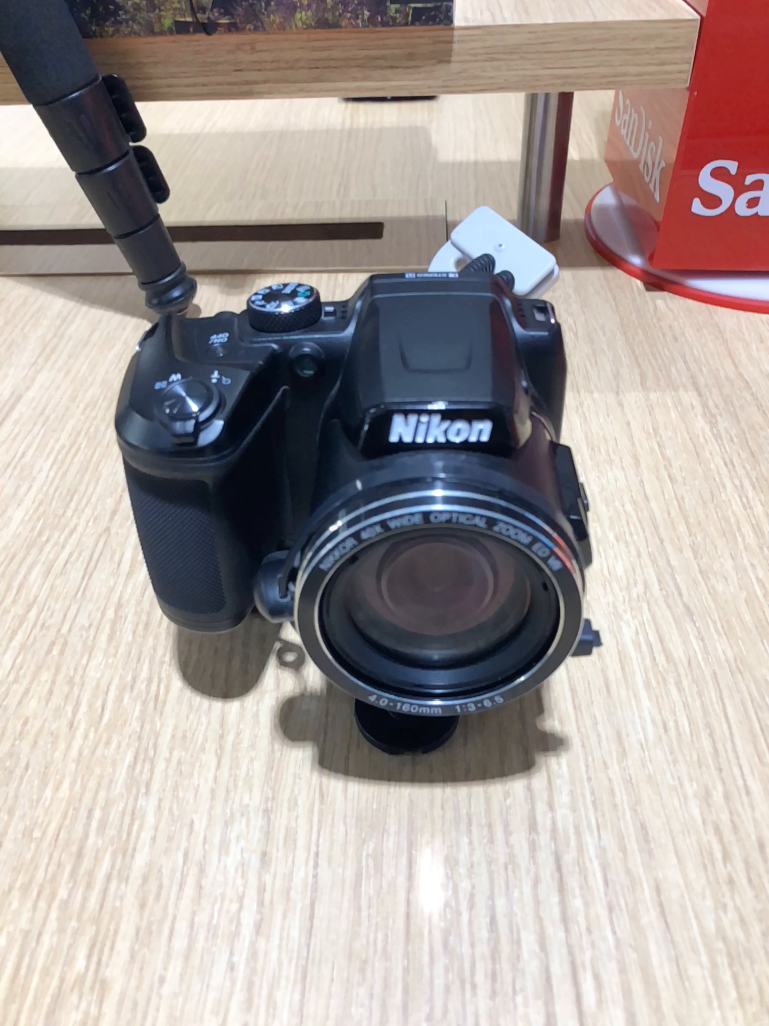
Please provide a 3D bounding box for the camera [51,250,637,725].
[{"bbox_3d":[-0.006,-0.009,0.208,0.103,0.070,0.093,-1,41,1],"label":"camera"}]
